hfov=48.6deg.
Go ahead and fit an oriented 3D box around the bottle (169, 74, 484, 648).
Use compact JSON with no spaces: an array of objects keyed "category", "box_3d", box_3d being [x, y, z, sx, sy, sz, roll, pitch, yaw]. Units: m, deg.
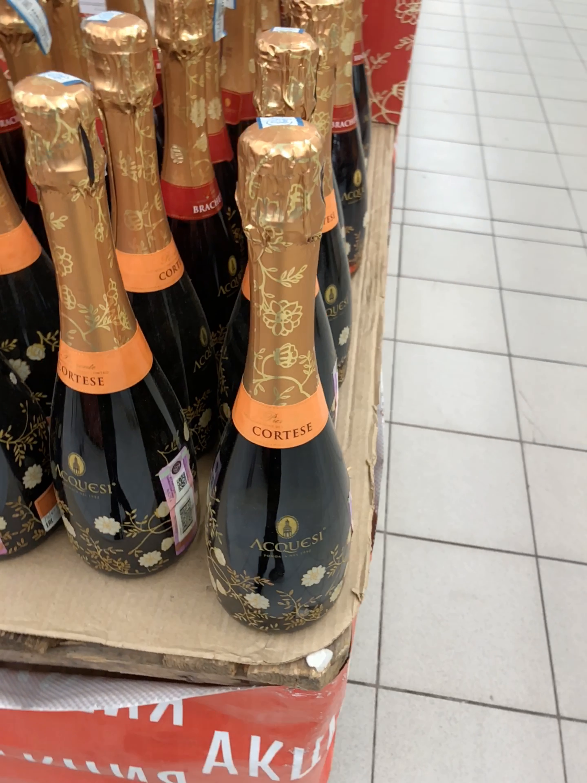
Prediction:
[{"category":"bottle","box_3d":[-0.002,0.015,0.350,0.100,0.318,0.101,2,45,-2]}]
